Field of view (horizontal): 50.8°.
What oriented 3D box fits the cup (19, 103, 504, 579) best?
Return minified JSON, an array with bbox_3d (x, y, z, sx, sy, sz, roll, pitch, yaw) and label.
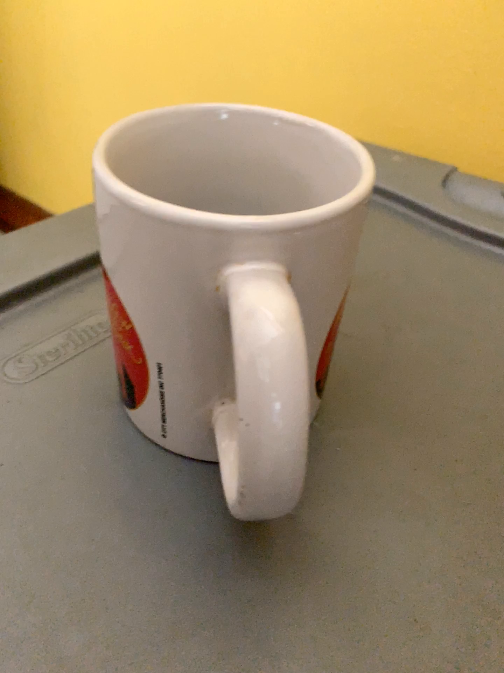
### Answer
[{"bbox_3d":[-0.003,-0.006,0.174,0.097,0.095,0.119,-2,41,-8],"label":"cup"}]
